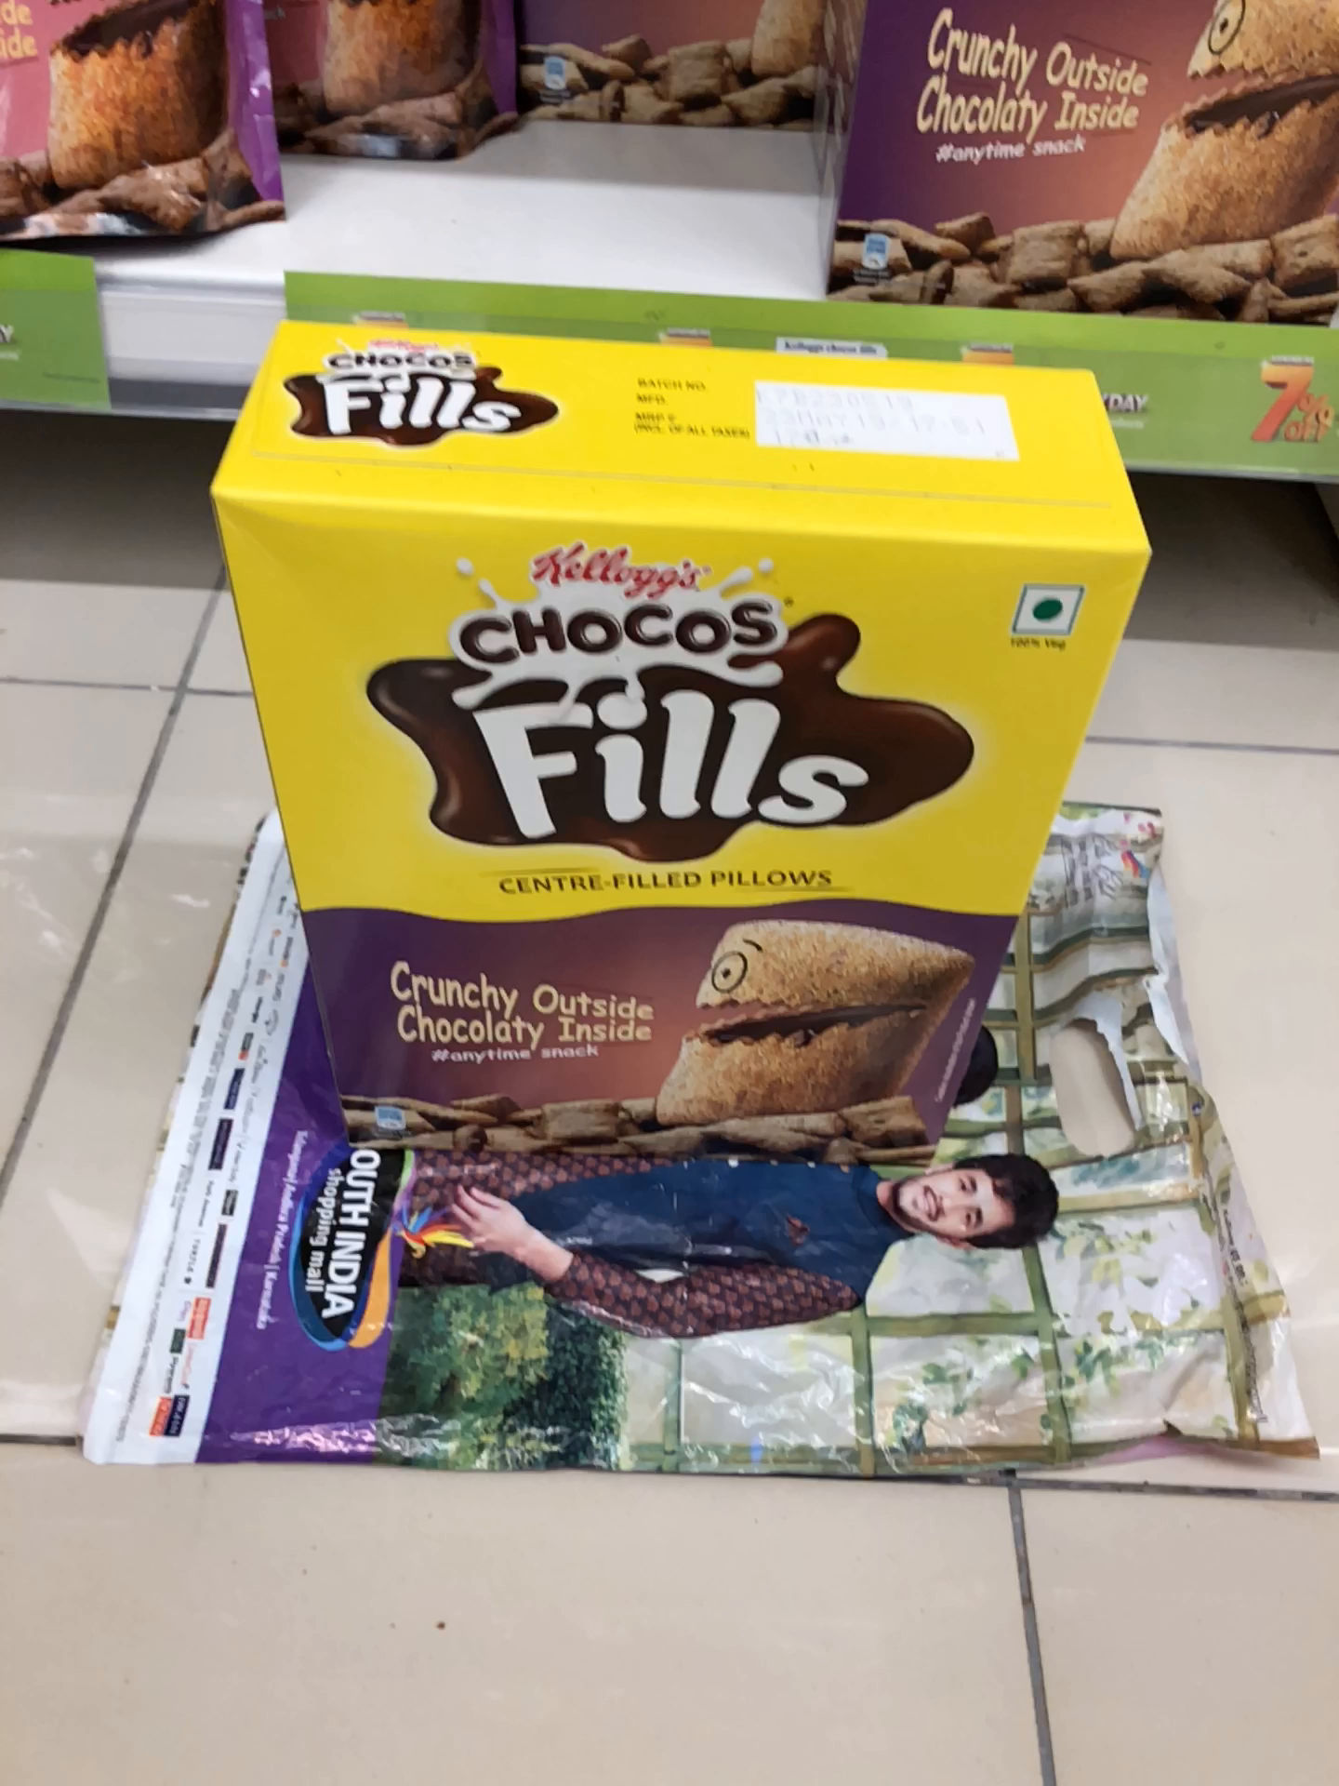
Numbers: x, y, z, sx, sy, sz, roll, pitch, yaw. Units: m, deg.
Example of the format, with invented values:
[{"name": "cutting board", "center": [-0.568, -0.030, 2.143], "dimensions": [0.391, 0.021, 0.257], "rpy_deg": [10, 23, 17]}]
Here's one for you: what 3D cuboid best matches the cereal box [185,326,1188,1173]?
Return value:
[{"name": "cereal box", "center": [-0.001, -0.019, 0.390], "dimensions": [0.190, 0.229, 0.070], "rpy_deg": [2, 49, -2]}]
